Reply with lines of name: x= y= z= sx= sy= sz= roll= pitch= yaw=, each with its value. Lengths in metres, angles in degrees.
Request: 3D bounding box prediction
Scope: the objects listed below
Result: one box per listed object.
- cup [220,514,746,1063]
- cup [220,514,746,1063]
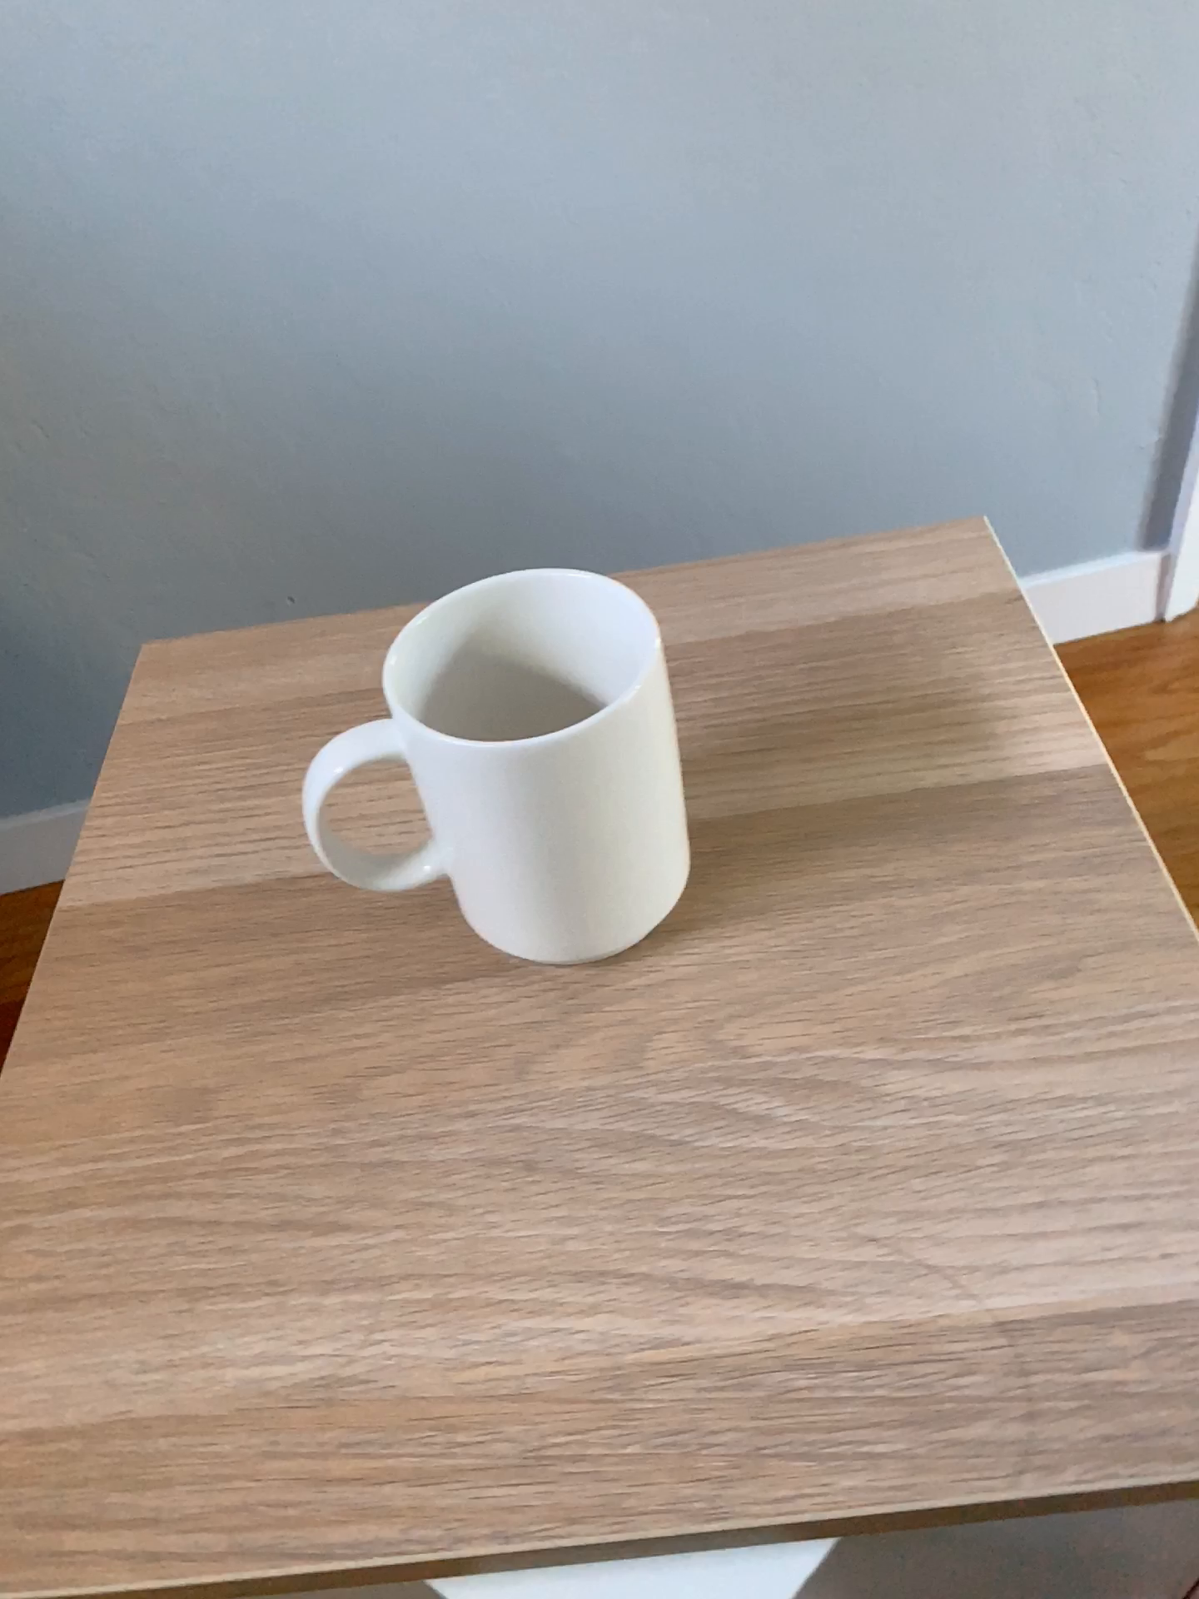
cup: x=-0.034 y=-0.002 z=0.424 sx=0.140 sy=0.129 sz=0.082 roll=-20 pitch=46 yaw=-8
cup: x=-0.034 y=-0.002 z=0.424 sx=0.140 sy=0.129 sz=0.082 roll=-20 pitch=46 yaw=-8
